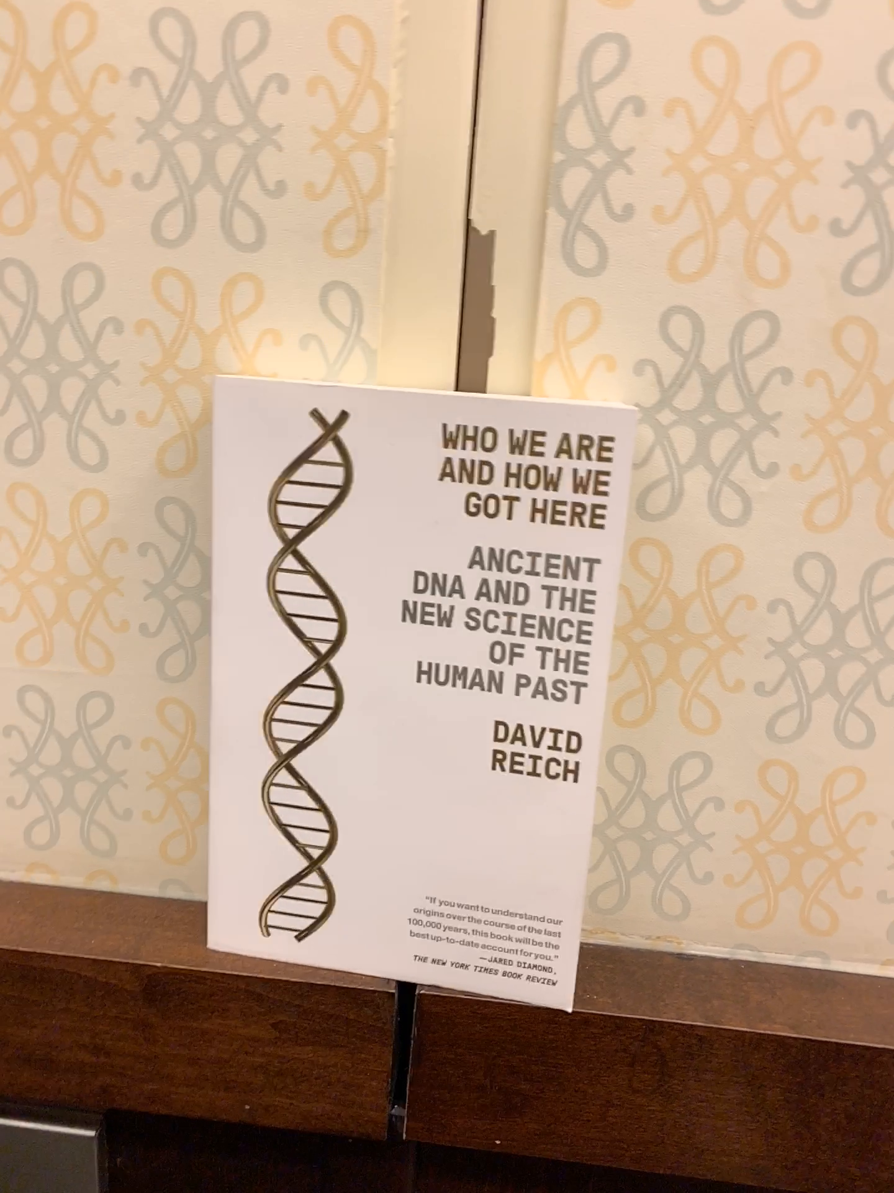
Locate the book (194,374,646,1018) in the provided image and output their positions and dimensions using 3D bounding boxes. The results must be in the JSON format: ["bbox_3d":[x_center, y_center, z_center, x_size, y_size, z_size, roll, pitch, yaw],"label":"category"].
[{"bbox_3d":[-0.014,0.033,0.304,0.127,0.199,0.041,4,13,1],"label":"book"}]
